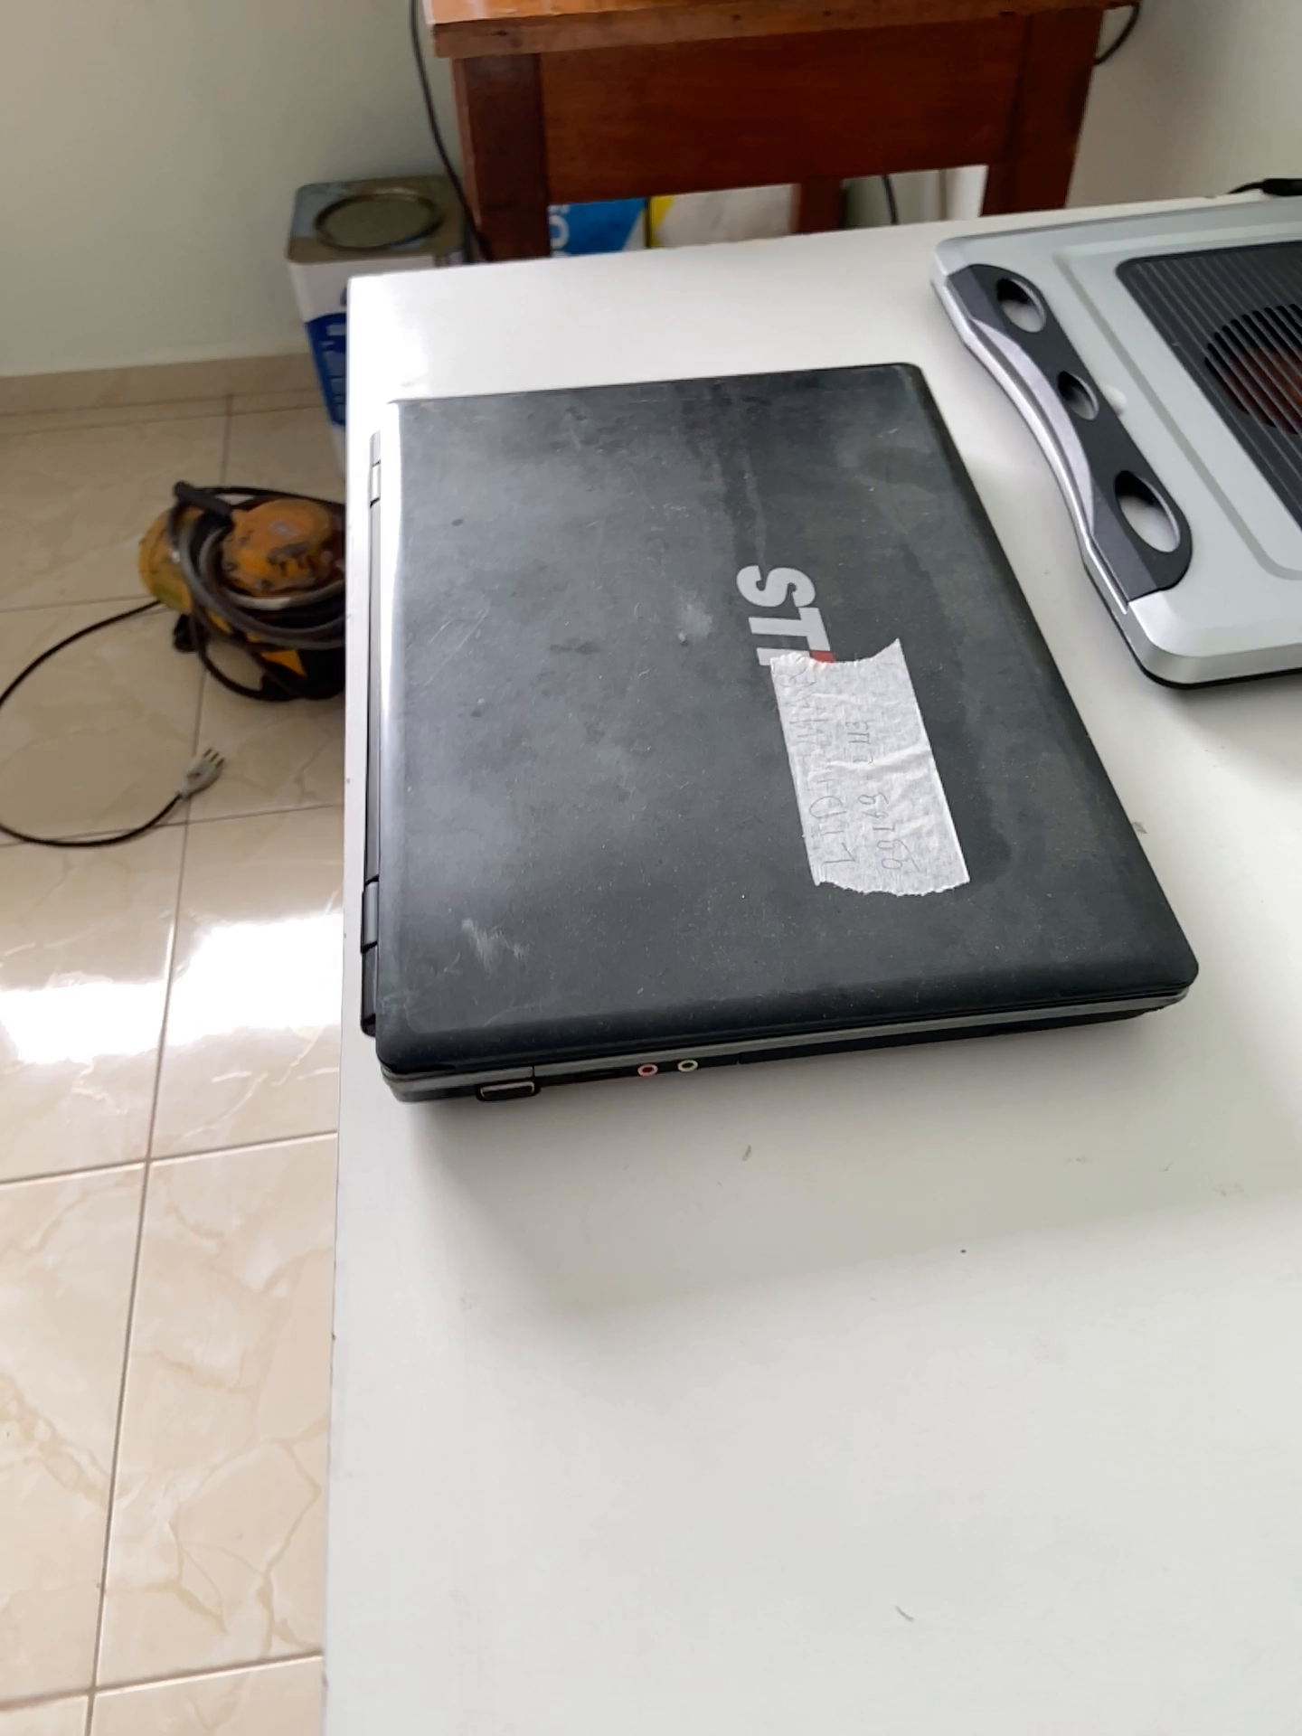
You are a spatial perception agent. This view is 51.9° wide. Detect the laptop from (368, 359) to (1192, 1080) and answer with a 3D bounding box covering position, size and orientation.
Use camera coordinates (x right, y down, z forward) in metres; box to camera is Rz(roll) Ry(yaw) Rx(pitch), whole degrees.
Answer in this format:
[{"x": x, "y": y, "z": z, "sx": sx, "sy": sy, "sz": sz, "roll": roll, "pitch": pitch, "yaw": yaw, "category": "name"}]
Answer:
[{"x": 0.020, "y": -0.084, "z": 0.485, "sx": 0.234, "sy": 0.006, "sz": 0.339, "roll": -5, "pitch": 50, "yaw": -4, "category": "laptop"}]
